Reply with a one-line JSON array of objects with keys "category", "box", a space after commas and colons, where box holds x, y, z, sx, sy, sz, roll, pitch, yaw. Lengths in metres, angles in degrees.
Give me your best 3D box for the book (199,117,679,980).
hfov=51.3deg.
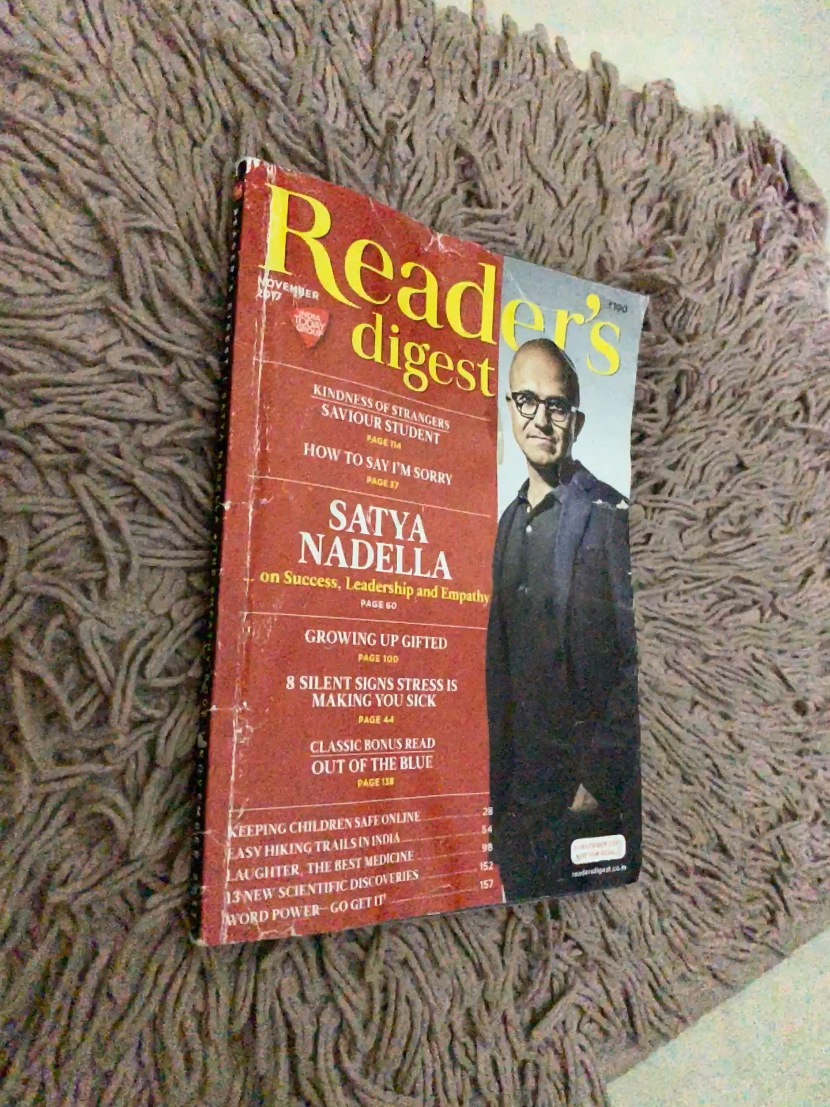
[{"category": "book", "box": [0.014, -0.001, 0.223, 0.131, 0.020, 0.180, 6, 79, -35]}]
